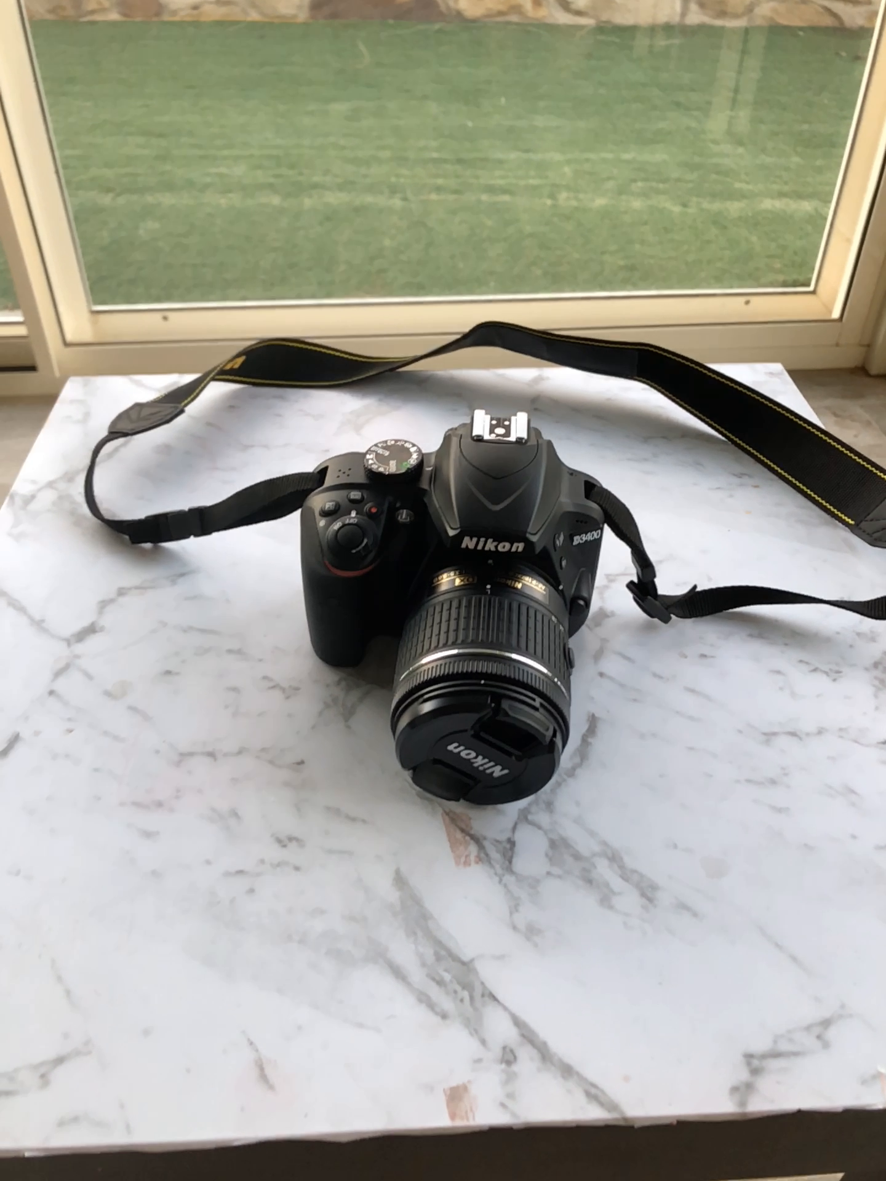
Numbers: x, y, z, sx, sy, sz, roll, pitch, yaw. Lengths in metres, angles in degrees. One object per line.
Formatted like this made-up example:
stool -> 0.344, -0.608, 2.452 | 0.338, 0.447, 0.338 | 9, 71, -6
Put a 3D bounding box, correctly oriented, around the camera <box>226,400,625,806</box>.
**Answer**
camera -> -0.001, -0.001, 0.373 | 0.121, 0.076, 0.138 | 2, 42, 3
